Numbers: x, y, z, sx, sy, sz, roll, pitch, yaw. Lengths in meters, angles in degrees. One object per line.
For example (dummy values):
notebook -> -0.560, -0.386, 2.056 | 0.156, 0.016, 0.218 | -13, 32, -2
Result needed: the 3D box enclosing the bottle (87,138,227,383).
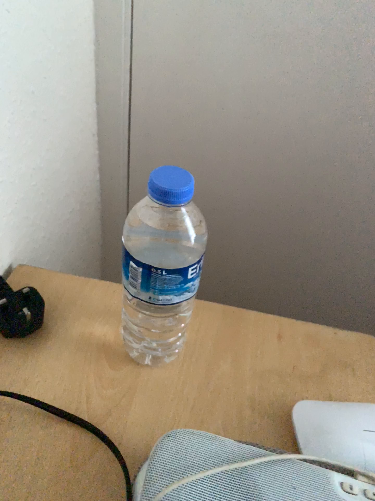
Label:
bottle -> -0.029, 0.016, 0.328 | 0.070, 0.188, 0.071 | 5, 39, -4
